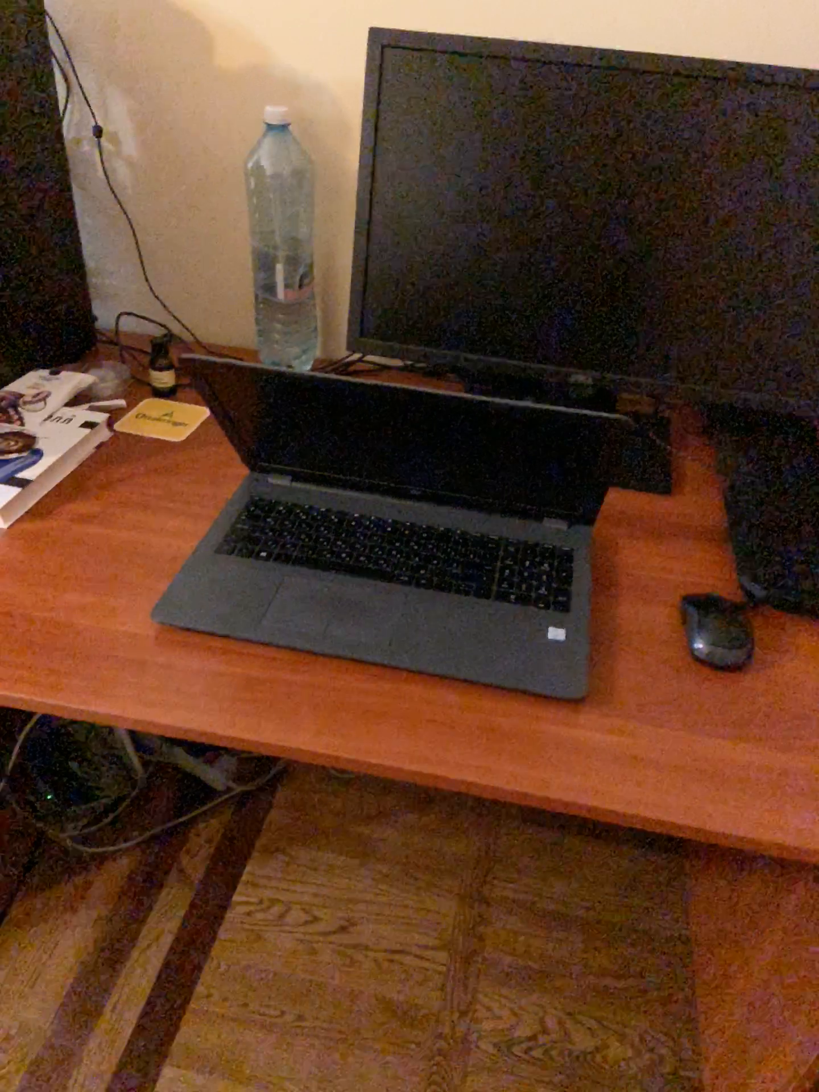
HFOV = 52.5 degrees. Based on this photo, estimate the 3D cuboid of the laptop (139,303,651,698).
[{"bbox_3d":[-0.003,-0.054,0.717,0.359,0.191,0.233,9,37,7],"label":"laptop"}]
